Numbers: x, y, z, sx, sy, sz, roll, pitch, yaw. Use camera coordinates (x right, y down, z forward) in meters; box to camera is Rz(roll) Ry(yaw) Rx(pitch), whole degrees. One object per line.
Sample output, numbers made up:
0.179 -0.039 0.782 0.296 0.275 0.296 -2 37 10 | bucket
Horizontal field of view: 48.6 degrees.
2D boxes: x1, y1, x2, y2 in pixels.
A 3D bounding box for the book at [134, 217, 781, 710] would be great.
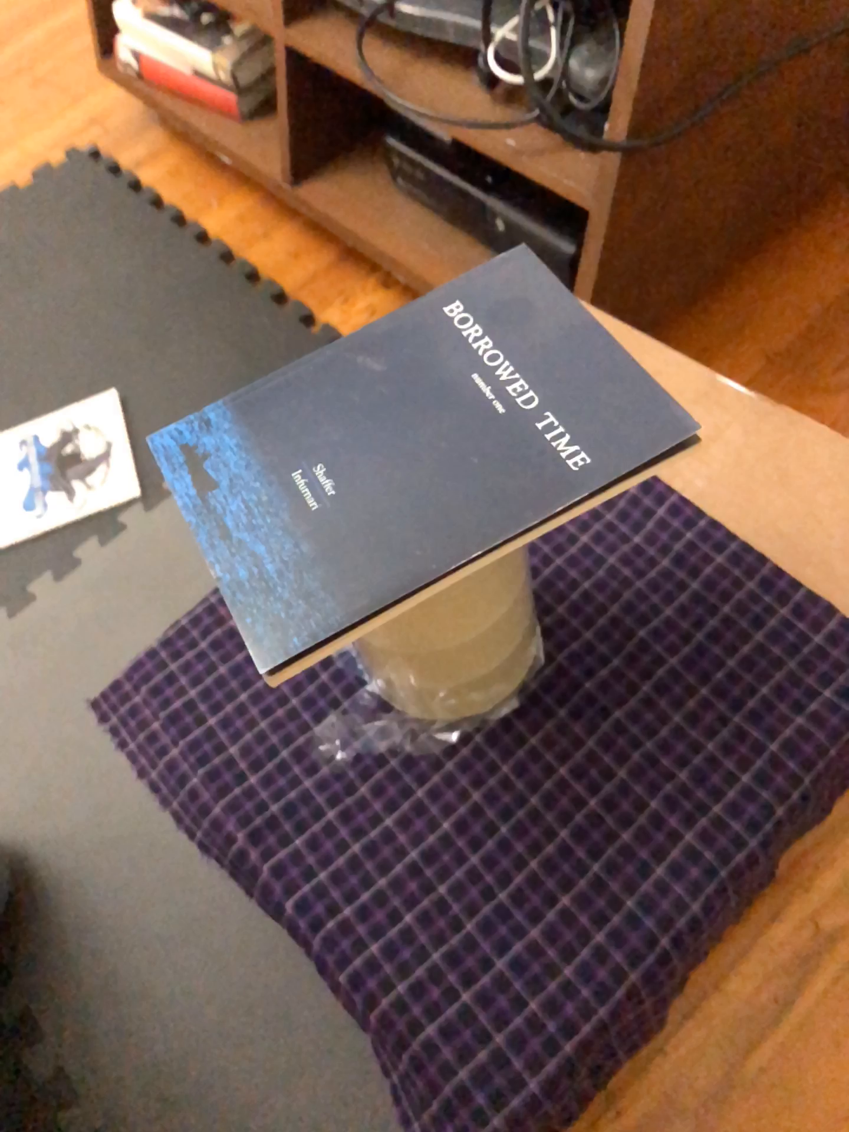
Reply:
0.007 -0.059 0.408 0.230 0.010 0.161 -28 59 -9 | book
